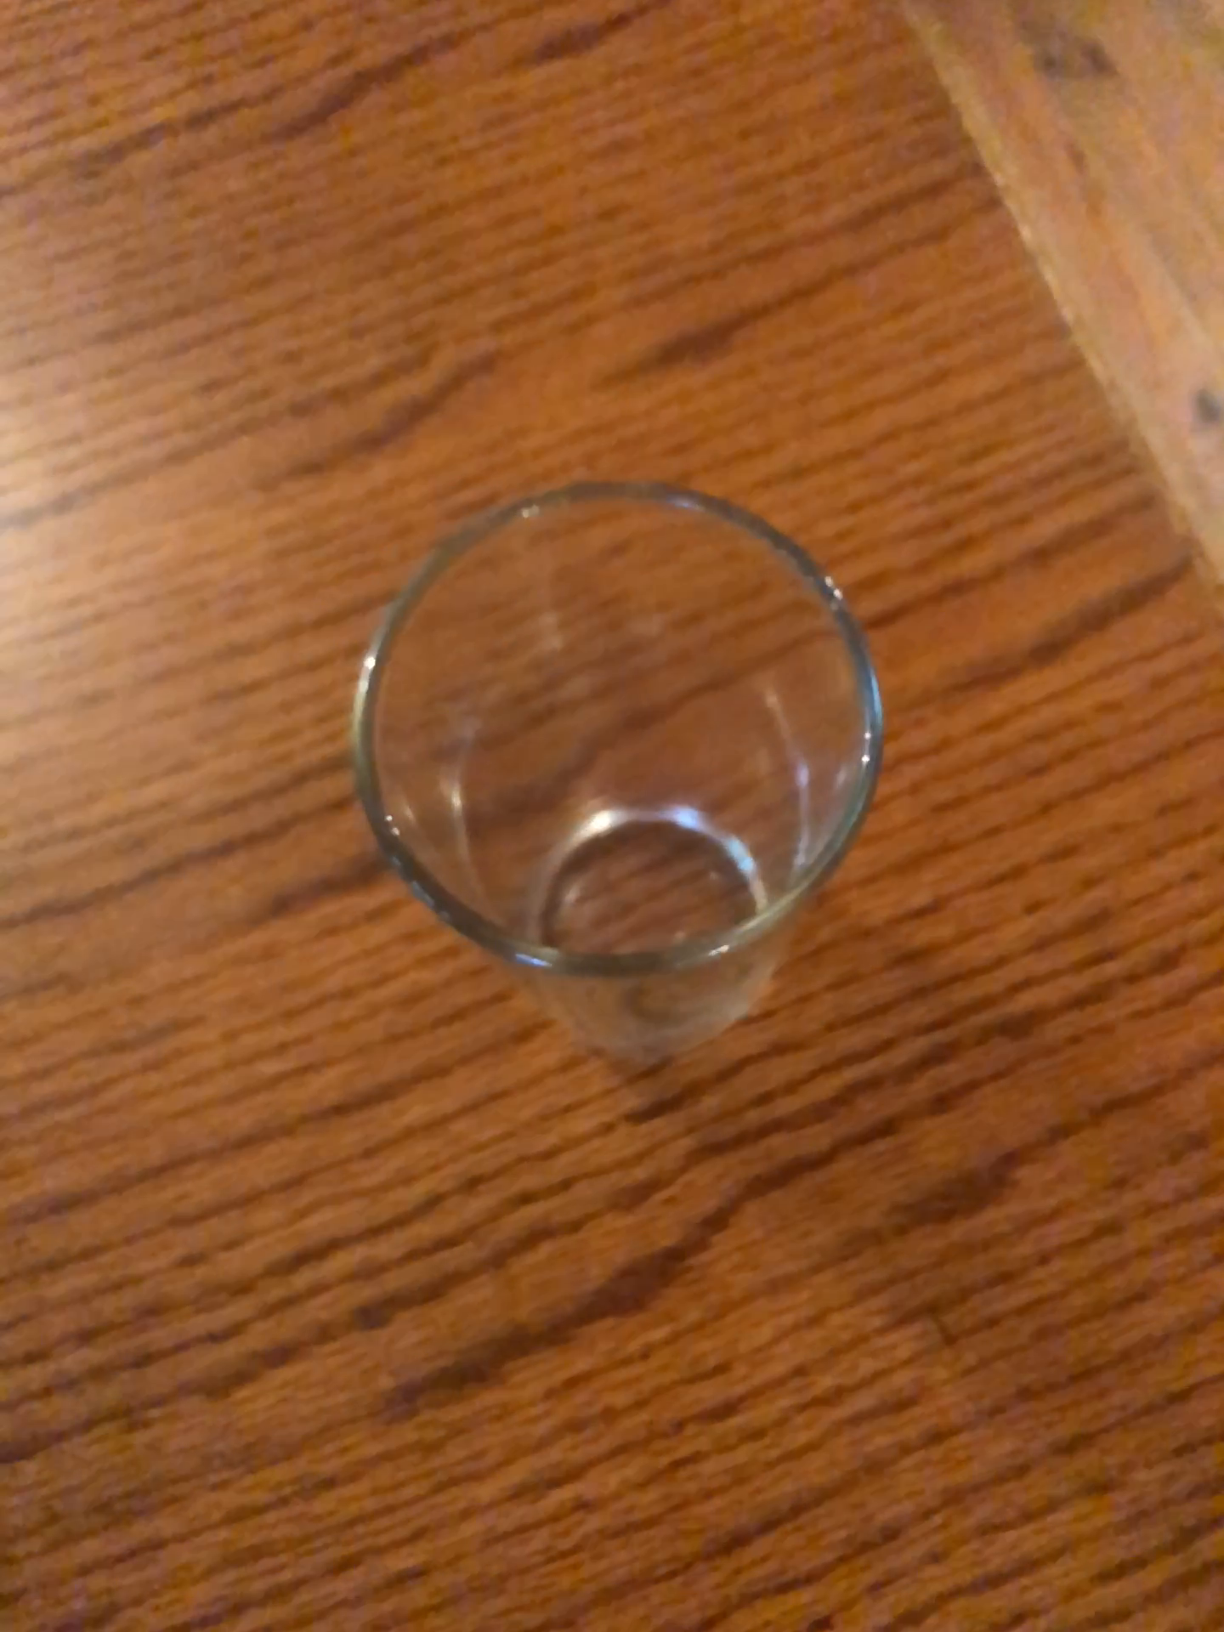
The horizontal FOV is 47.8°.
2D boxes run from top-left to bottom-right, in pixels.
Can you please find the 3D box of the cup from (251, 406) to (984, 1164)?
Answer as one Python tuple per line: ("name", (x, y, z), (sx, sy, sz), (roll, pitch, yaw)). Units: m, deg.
("cup", (0.003, 0.007, 0.299), (0.091, 0.144, 0.089), (-1, 71, 3))
